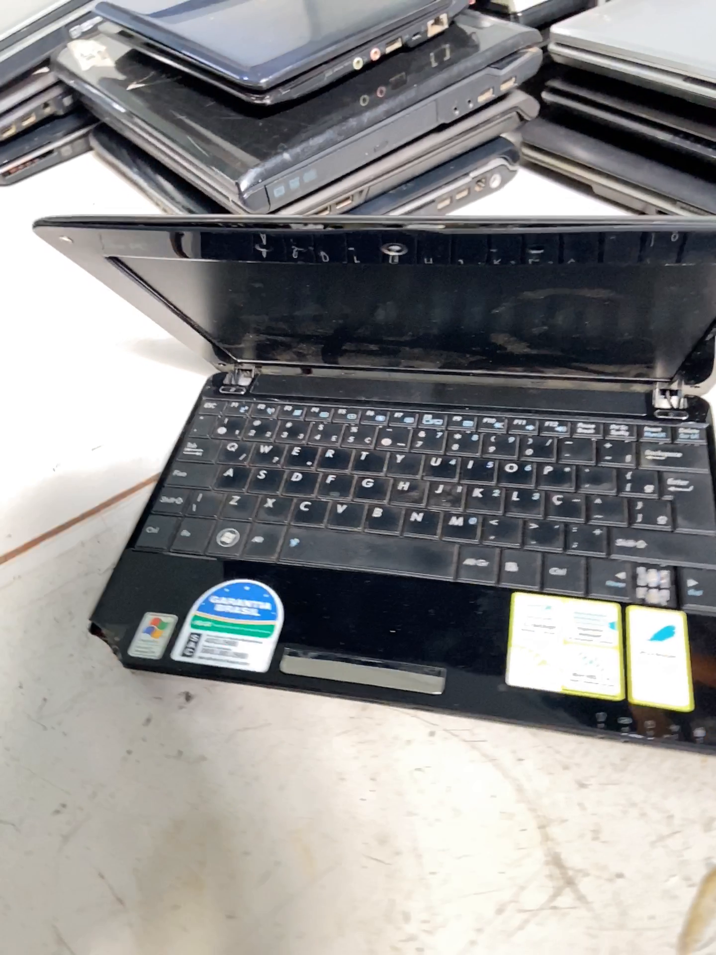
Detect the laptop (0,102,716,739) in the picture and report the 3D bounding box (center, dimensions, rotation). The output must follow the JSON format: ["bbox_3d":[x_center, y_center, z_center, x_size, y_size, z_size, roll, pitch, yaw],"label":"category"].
[{"bbox_3d":[0.018,-0.035,0.289,0.262,0.137,0.168,5,49,14],"label":"laptop"}]
